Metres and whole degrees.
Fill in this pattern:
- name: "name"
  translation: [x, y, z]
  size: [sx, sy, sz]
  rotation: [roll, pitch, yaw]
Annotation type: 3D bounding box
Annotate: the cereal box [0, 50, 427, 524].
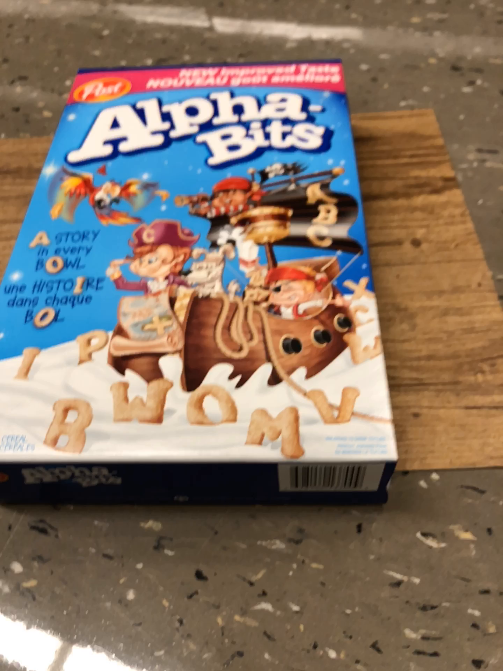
- name: "cereal box"
  translation: [-0.028, -0.054, 0.336]
  size: [0.200, 0.060, 0.311]
  rotation: [-1, 54, 4]
